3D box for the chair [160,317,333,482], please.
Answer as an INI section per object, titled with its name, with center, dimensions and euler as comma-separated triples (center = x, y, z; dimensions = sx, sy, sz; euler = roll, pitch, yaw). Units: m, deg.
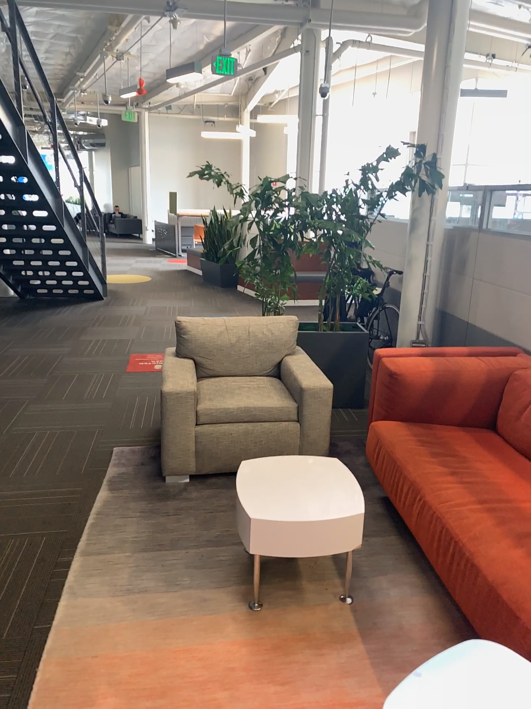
[chair]
center = -0.171, 0.219, 3.346
dimensions = 0.920, 0.727, 0.874
euler = -1, 16, -9
